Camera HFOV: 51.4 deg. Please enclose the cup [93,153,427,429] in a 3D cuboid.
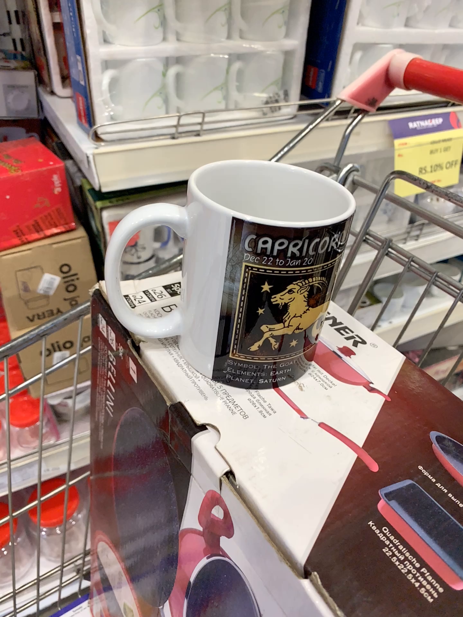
[{"bbox_3d":[0.004,-0.015,0.229,0.120,0.090,0.080,-7,39,-20],"label":"cup"}]
